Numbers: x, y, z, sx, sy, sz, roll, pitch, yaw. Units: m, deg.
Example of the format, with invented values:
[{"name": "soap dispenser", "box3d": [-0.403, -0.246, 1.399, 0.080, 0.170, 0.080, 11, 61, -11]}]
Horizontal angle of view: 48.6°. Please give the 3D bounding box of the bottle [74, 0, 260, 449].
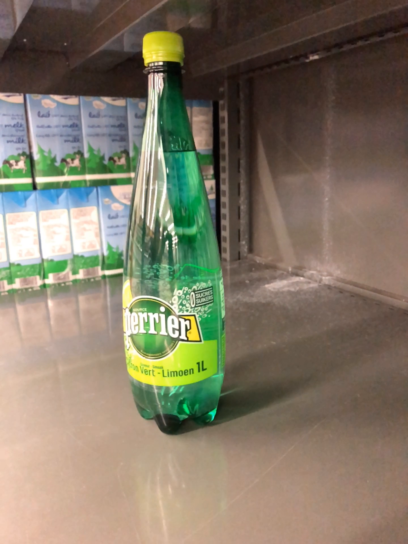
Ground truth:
[{"name": "bottle", "box3d": [-0.021, -0.031, 0.361, 0.100, 0.299, 0.090, 8, 16, 34]}]
